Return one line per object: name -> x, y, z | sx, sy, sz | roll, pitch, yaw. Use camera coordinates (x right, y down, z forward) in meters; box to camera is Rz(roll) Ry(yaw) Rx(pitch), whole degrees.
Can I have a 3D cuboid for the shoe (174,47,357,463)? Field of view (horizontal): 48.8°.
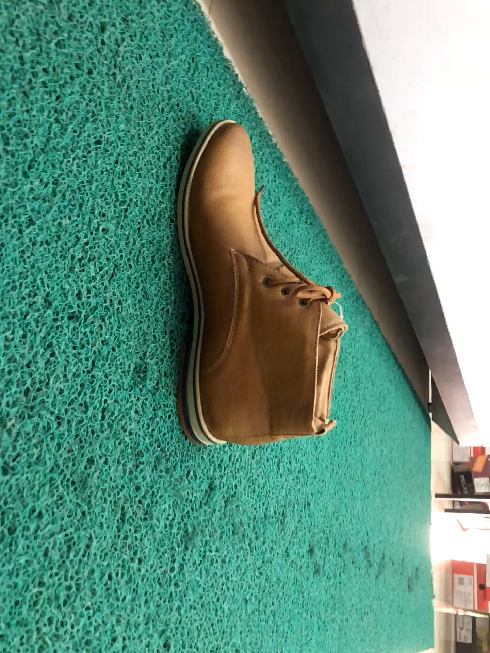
shoe -> 0.019, -0.049, 0.470 | 0.121, 0.109, 0.310 | 13, 74, -62
